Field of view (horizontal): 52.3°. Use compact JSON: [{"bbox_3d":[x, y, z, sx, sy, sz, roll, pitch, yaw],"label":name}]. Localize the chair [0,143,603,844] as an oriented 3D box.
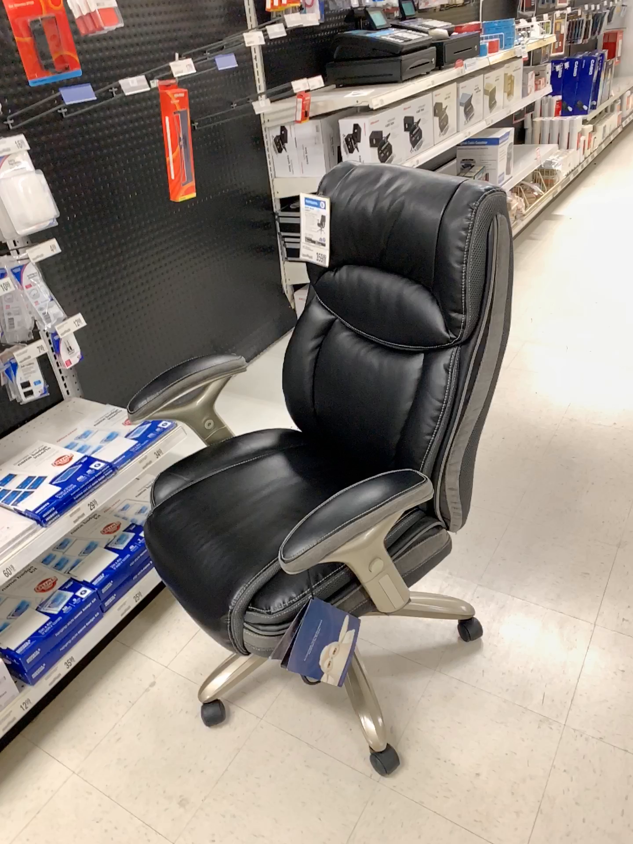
[{"bbox_3d":[-0.024,0.096,1.356,0.741,1.094,0.743,-27,37,-29],"label":"chair"}]
